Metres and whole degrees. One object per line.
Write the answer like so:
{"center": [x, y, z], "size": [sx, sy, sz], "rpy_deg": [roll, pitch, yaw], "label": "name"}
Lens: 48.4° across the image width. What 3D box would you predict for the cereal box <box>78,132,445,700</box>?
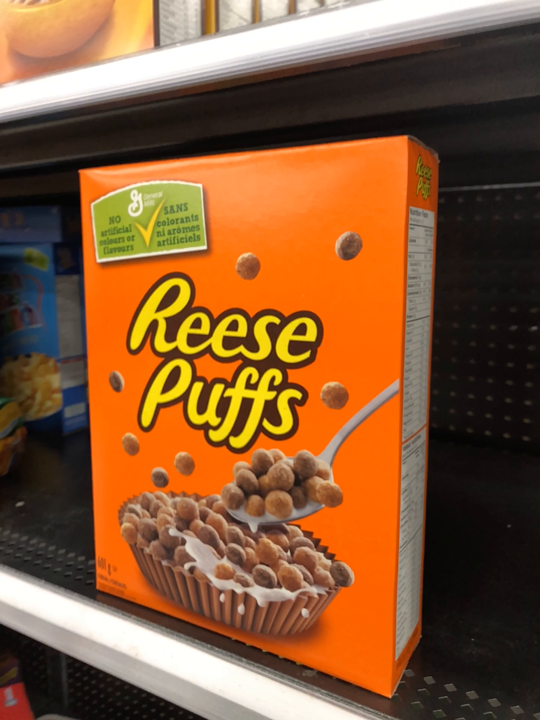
{"center": [-0.013, 0.028, 0.419], "size": [0.240, 0.319, 0.070], "rpy_deg": [4, 9, 29], "label": "cereal box"}
